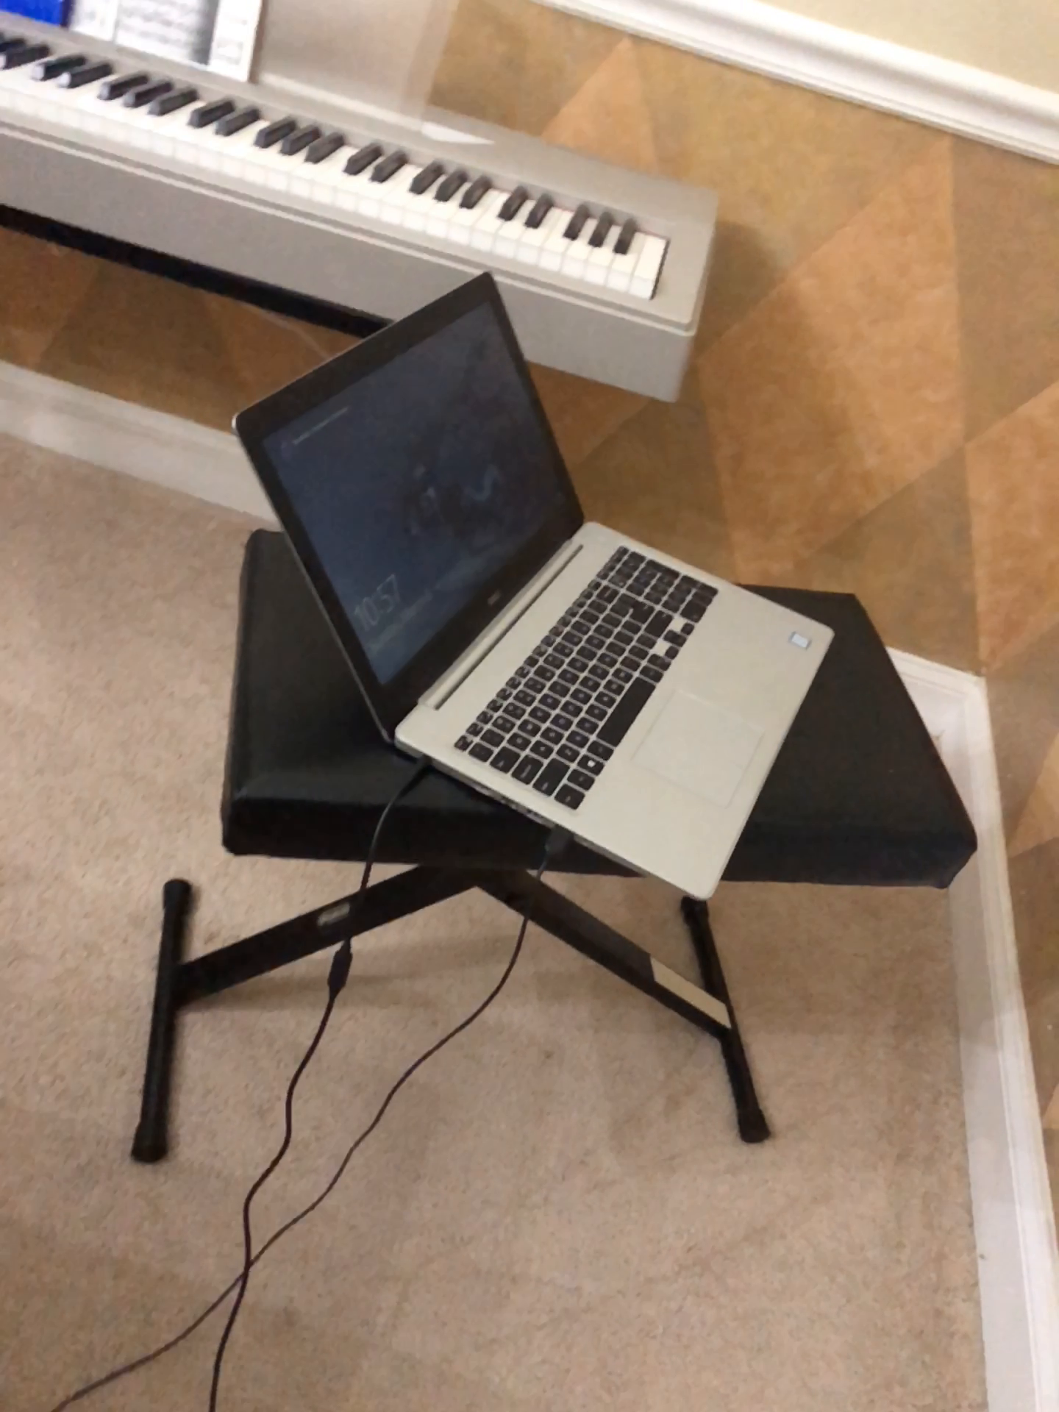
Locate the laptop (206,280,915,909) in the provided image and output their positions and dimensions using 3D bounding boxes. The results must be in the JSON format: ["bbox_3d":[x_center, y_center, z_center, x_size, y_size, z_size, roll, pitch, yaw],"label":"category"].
[{"bbox_3d":[0.037,-0.118,0.901,0.408,0.183,0.376,27,42,10],"label":"laptop"}]
